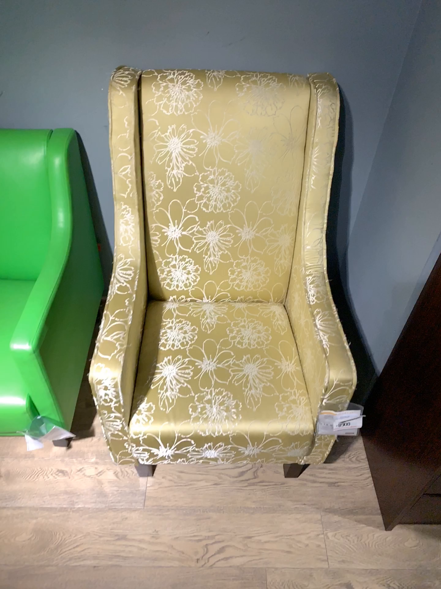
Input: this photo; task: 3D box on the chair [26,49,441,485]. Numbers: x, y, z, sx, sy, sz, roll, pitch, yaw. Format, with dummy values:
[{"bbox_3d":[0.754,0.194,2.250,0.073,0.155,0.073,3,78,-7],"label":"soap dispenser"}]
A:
[{"bbox_3d":[0.033,-0.073,1.464,0.780,1.027,0.953,1,44,-3],"label":"chair"}]
